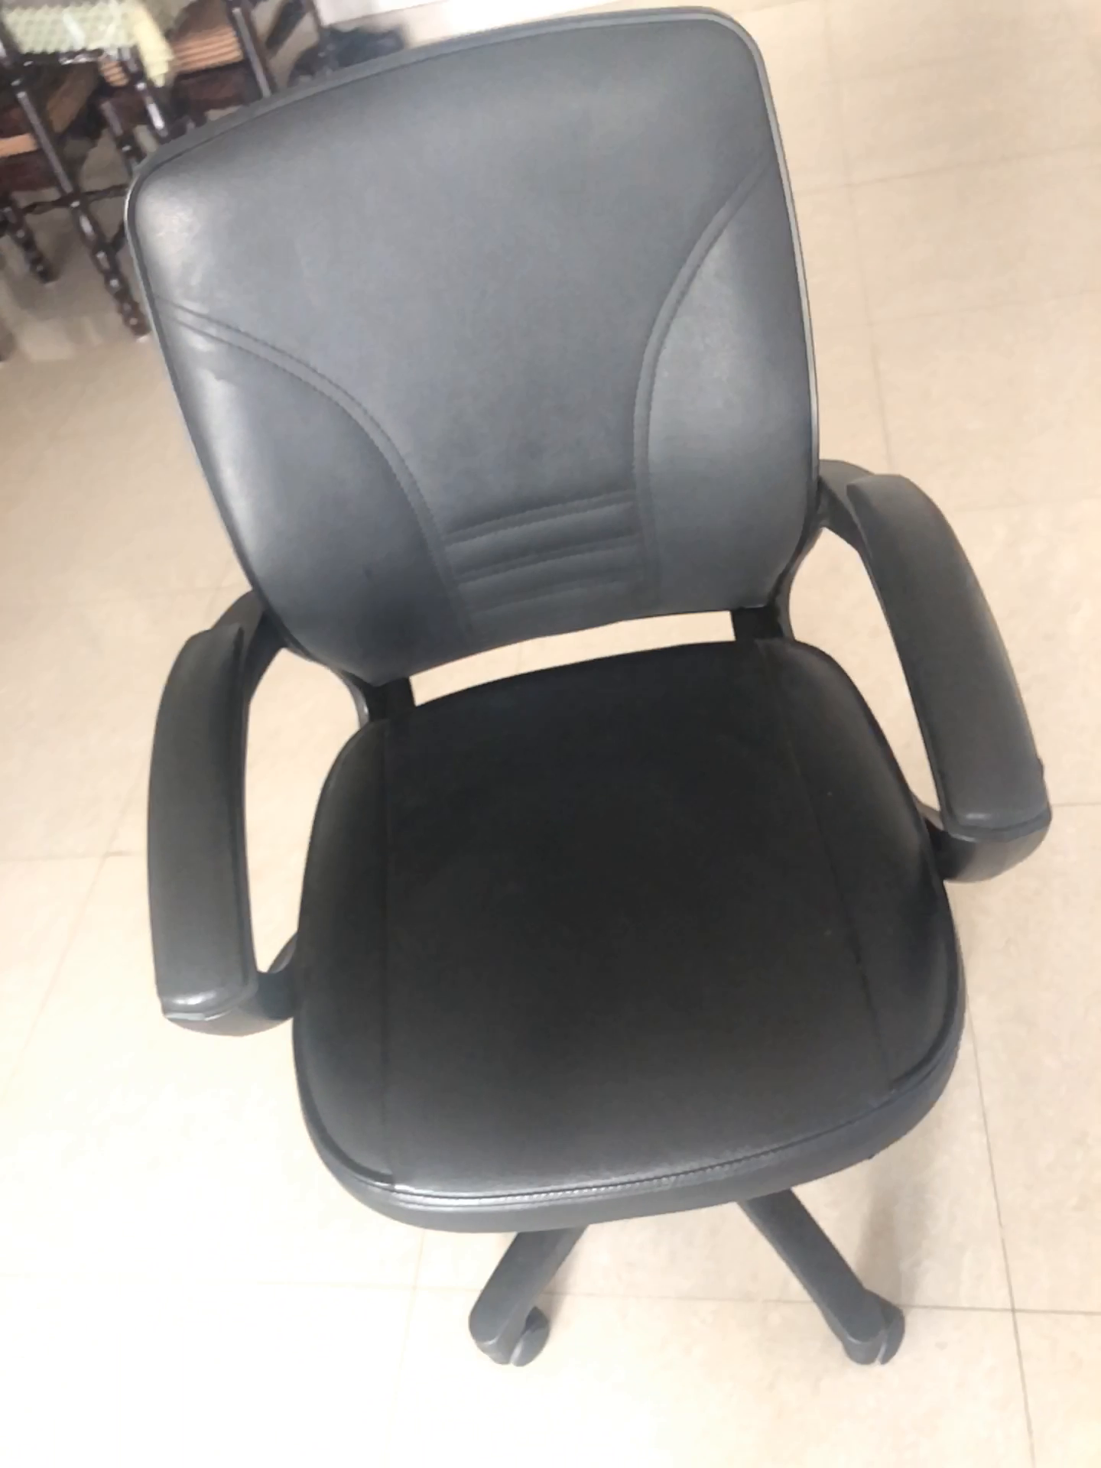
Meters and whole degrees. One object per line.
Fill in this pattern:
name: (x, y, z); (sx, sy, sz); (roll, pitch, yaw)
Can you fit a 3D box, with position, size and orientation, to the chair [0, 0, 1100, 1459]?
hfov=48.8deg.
chair: (0.041, 0.053, 0.956); (0.700, 0.953, 0.634); (-11, 46, 6)
